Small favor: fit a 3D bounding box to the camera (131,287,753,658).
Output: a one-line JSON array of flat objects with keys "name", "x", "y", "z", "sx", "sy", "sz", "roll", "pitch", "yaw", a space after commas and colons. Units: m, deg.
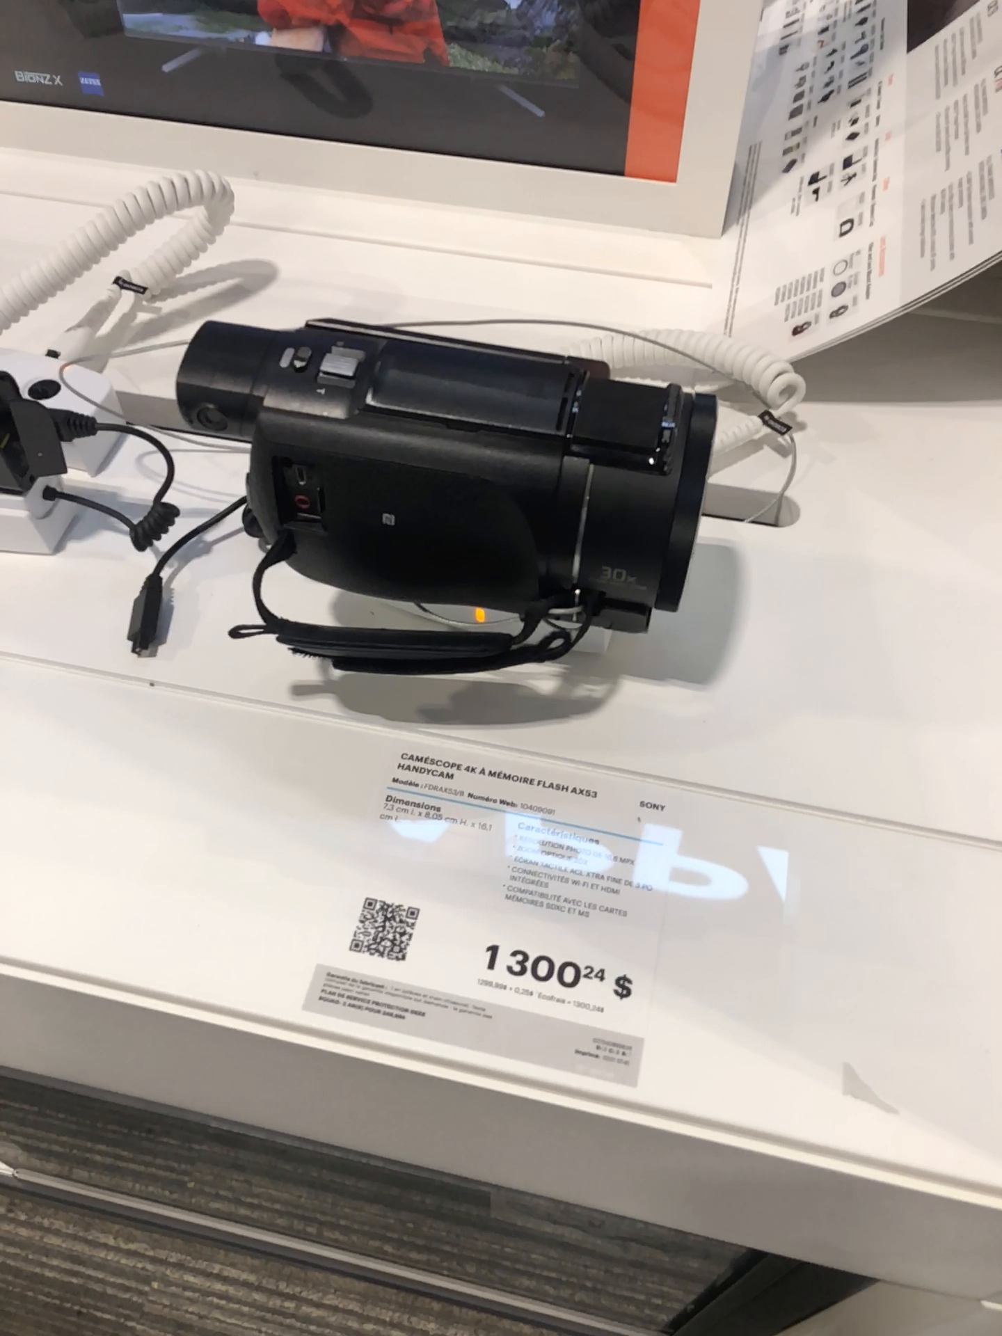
[{"name": "camera", "x": -0.015, "y": -0.061, "z": 0.341, "sx": 0.168, "sy": 0.066, "sz": 0.061, "roll": 10, "pitch": 54, "yaw": 8}]
